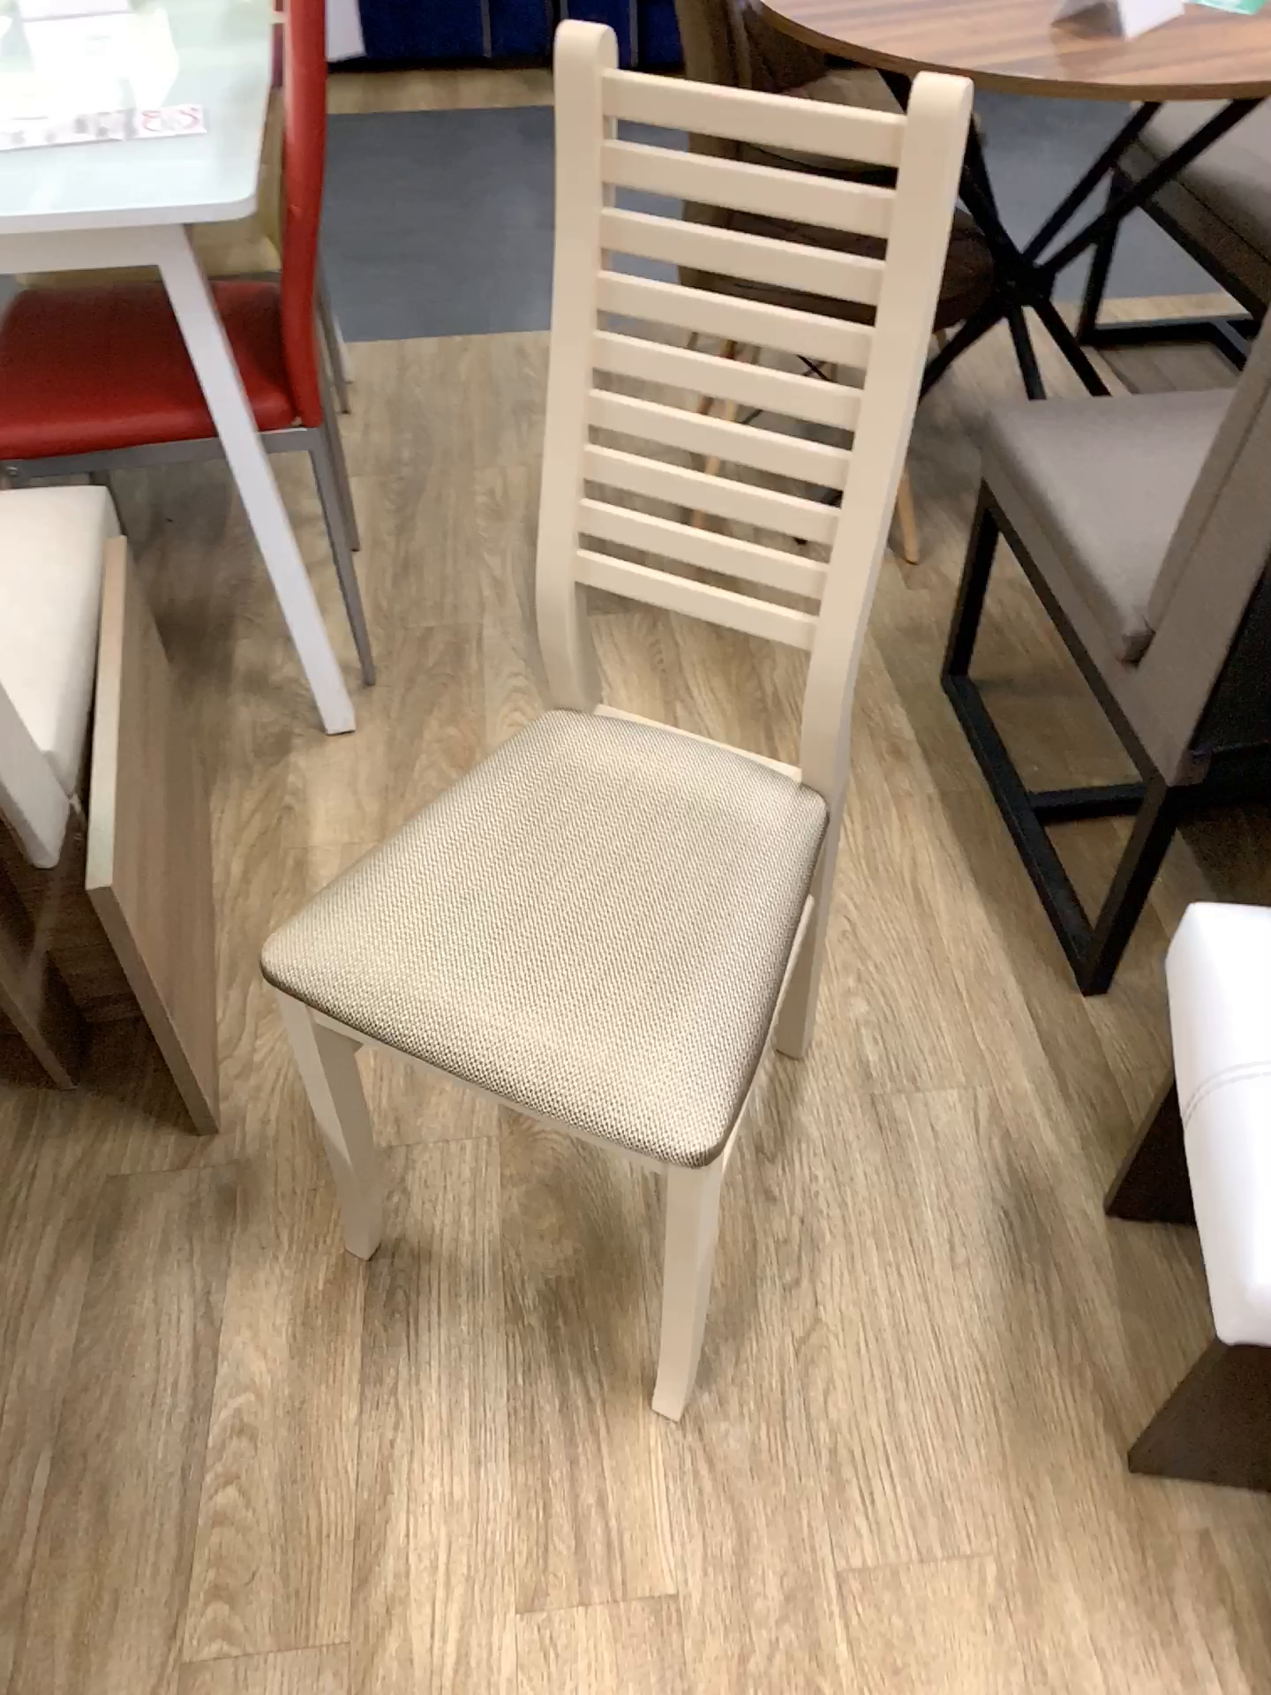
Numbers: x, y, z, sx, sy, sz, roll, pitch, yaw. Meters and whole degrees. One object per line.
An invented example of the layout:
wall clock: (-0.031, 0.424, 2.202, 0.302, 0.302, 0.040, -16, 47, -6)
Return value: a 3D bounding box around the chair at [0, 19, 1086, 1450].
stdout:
chair: (-0.026, -0.033, 1.092, 0.440, 0.985, 0.553, 20, 49, 19)
